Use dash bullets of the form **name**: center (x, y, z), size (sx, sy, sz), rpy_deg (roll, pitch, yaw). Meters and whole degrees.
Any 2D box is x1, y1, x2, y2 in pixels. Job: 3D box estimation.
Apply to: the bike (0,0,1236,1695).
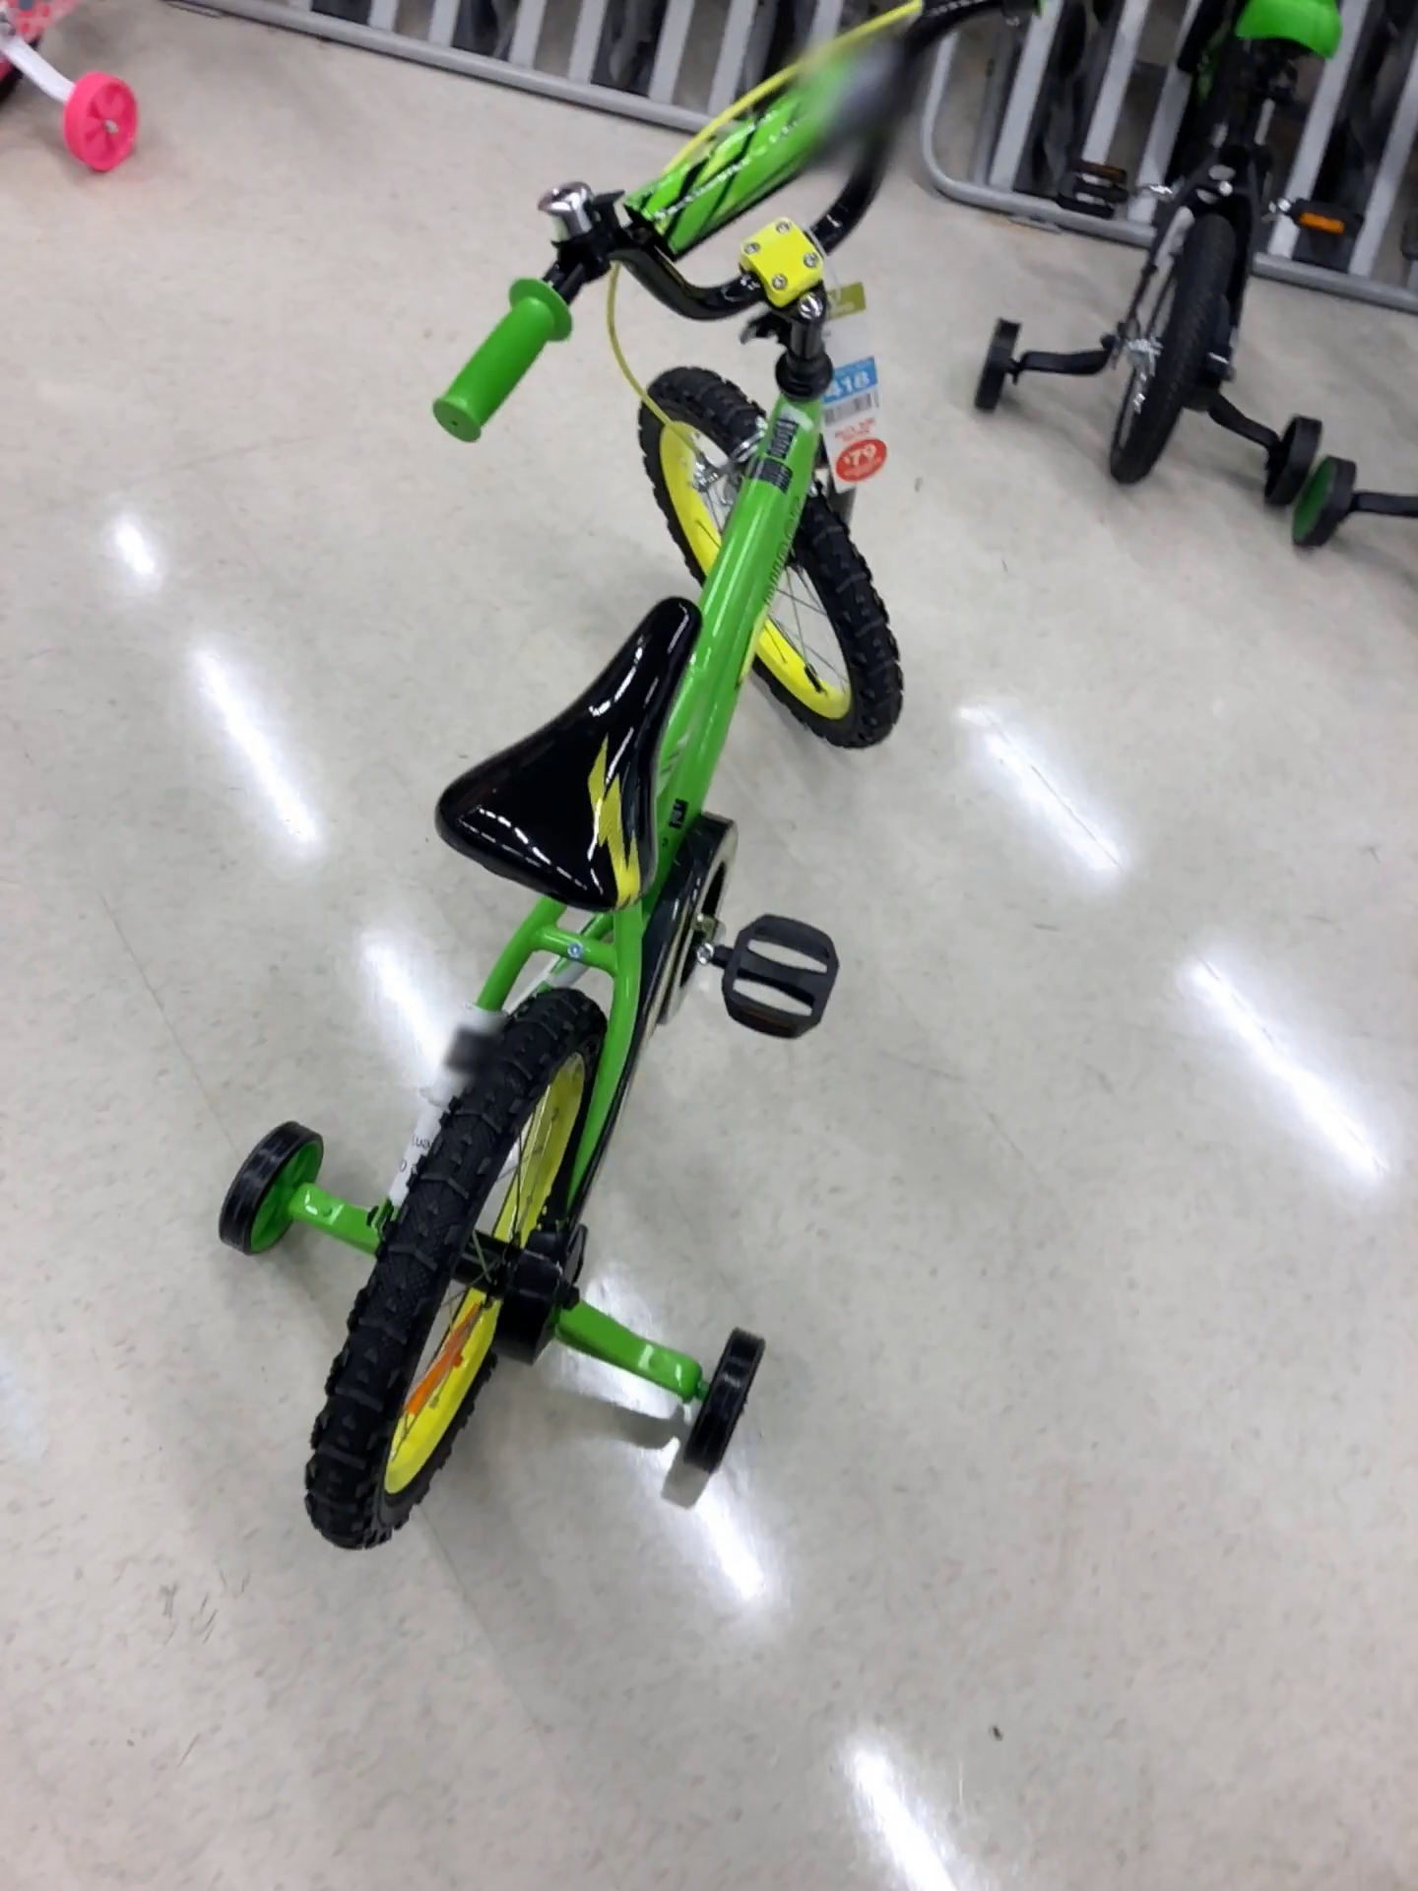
- **bike**: center (-0.112, -0.222, 1.018), size (0.552, 0.808, 1.047), rpy_deg (13, 63, -1)
